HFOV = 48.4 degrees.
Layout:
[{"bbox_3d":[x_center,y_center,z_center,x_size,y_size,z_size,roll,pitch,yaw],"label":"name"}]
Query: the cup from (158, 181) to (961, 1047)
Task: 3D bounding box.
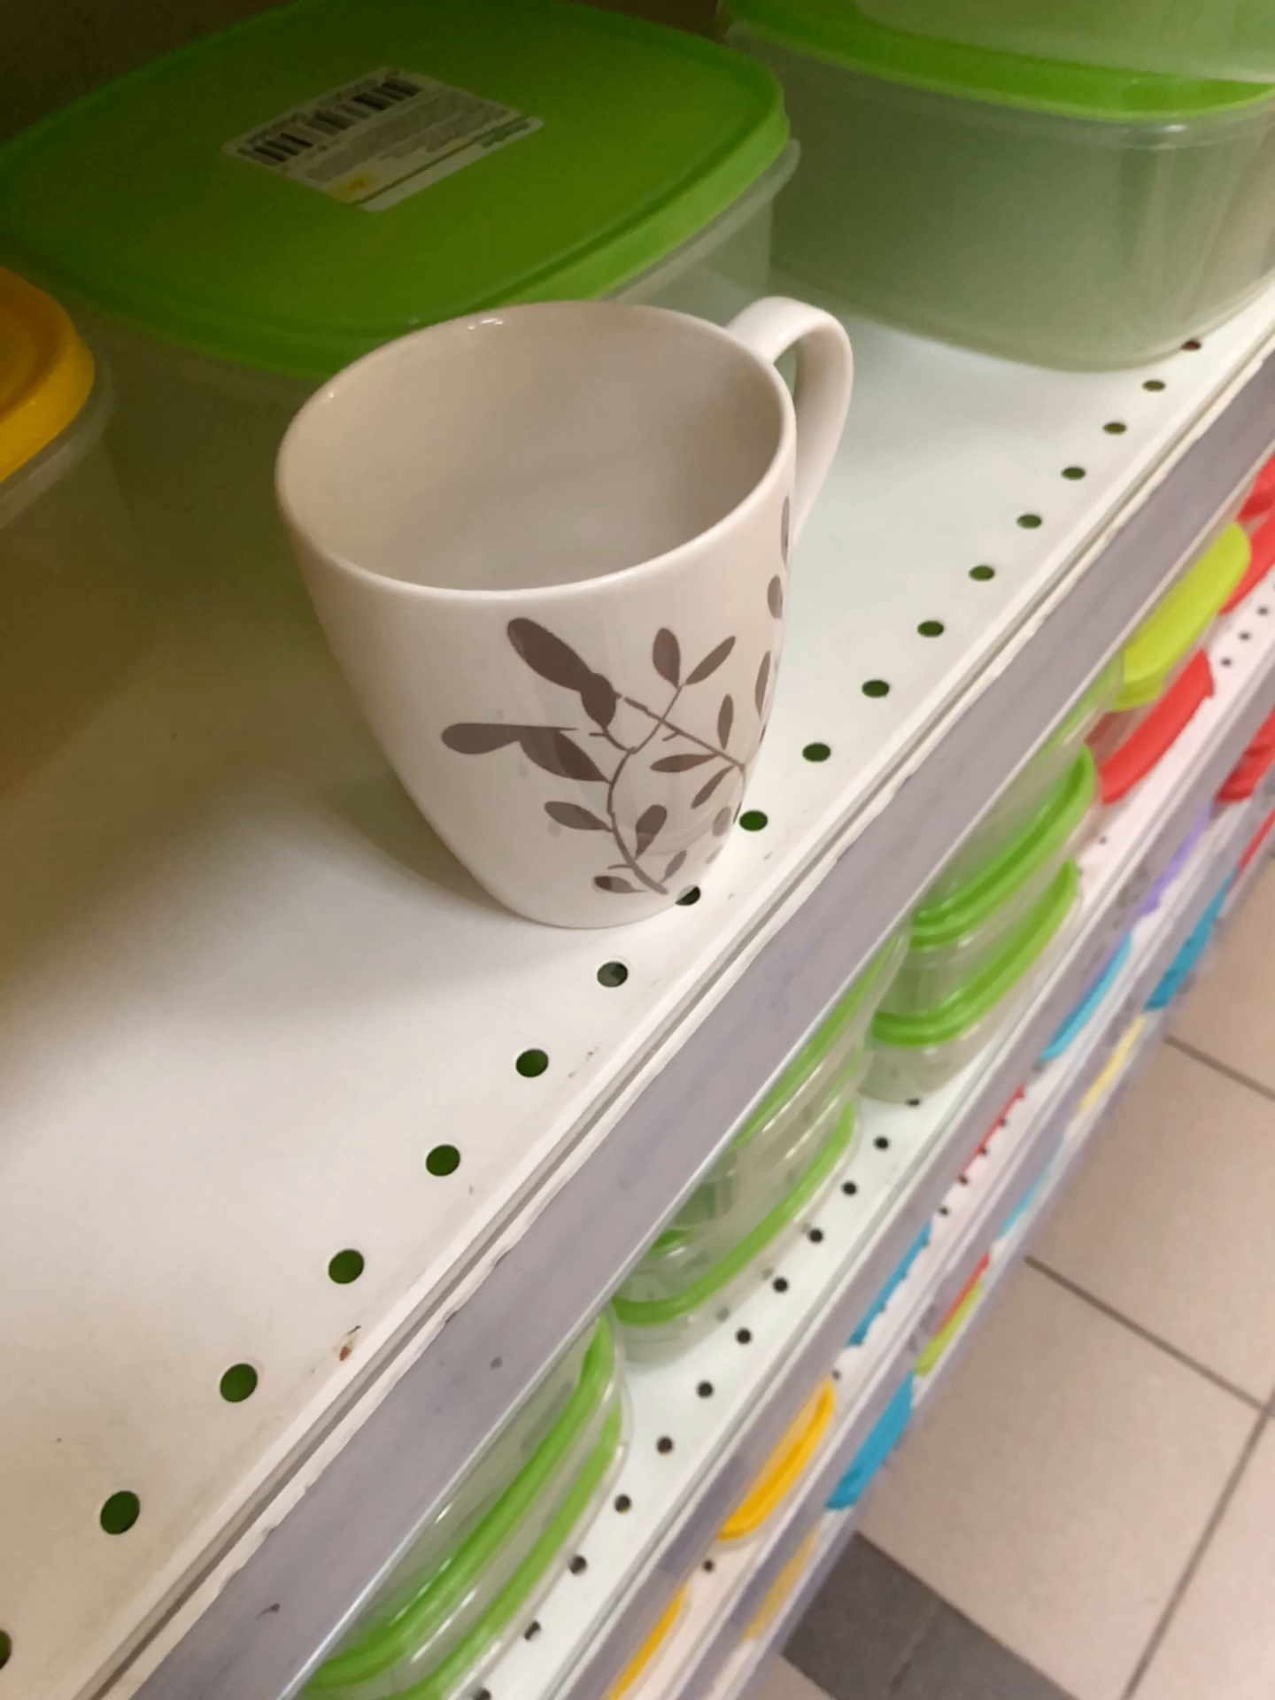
[{"bbox_3d":[-0.007,-0.050,0.283,0.086,0.097,0.121,25,56,22],"label":"cup"}]
